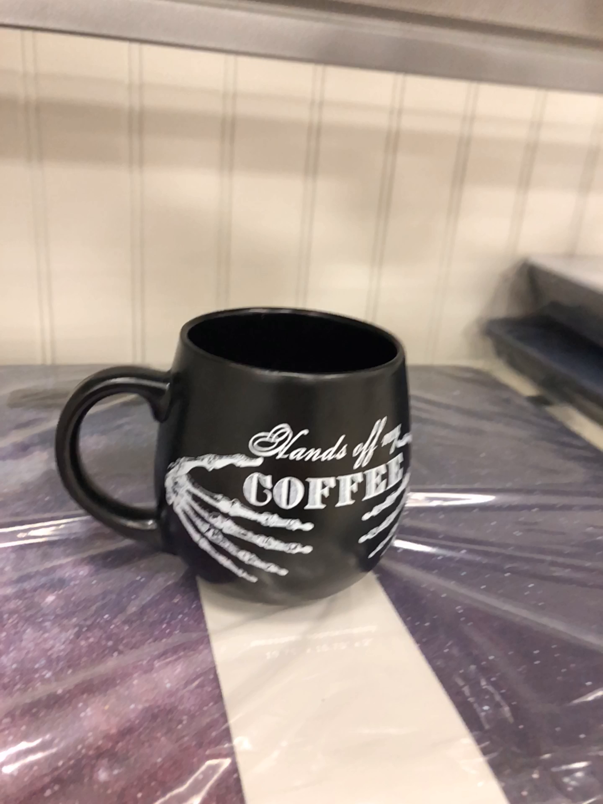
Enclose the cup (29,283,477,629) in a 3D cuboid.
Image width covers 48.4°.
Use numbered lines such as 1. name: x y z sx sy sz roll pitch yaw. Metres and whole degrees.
1. cup: -0.022 0.017 0.274 0.140 0.099 0.101 2 23 -8
